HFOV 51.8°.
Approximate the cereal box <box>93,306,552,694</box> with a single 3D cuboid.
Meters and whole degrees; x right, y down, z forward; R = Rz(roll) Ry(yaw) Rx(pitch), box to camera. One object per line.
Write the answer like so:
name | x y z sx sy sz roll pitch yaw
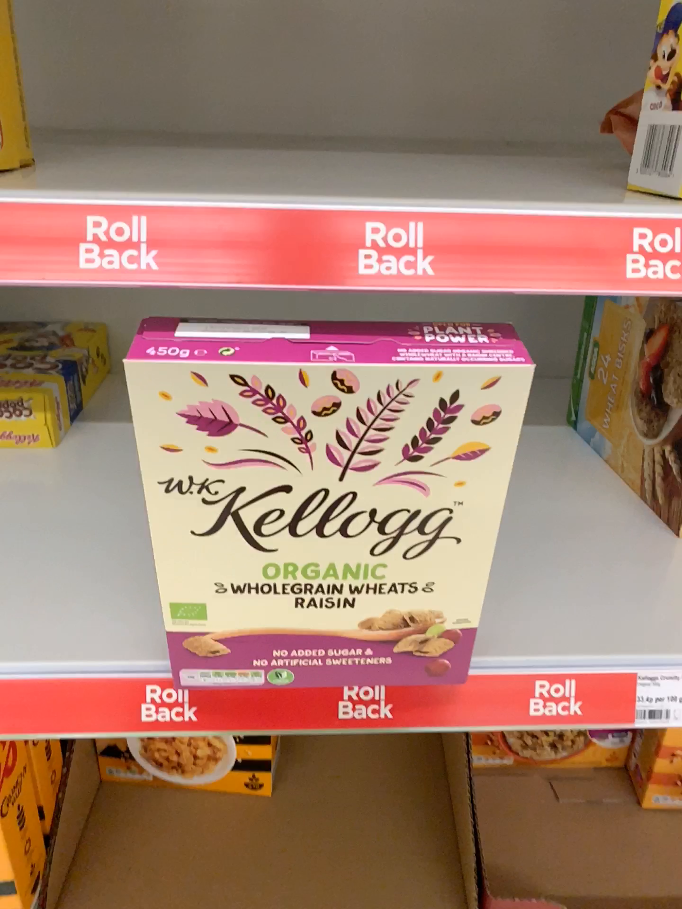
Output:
cereal box | -0.010 0.033 0.390 0.200 0.218 0.061 -1 33 -3
